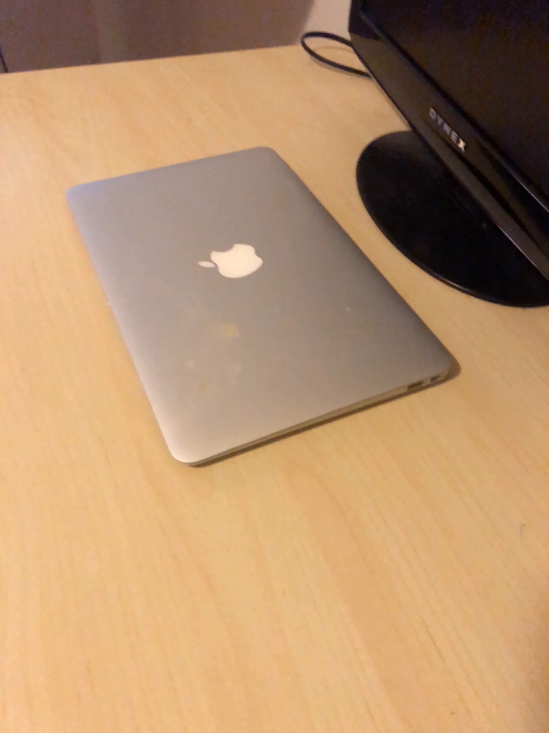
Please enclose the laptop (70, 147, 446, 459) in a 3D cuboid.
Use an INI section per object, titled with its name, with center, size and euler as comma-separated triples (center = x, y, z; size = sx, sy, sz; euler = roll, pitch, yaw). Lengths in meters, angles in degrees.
[laptop]
center = -0.029, -0.074, 0.456
size = 0.181, 0.005, 0.280
euler = -19, 54, -17
